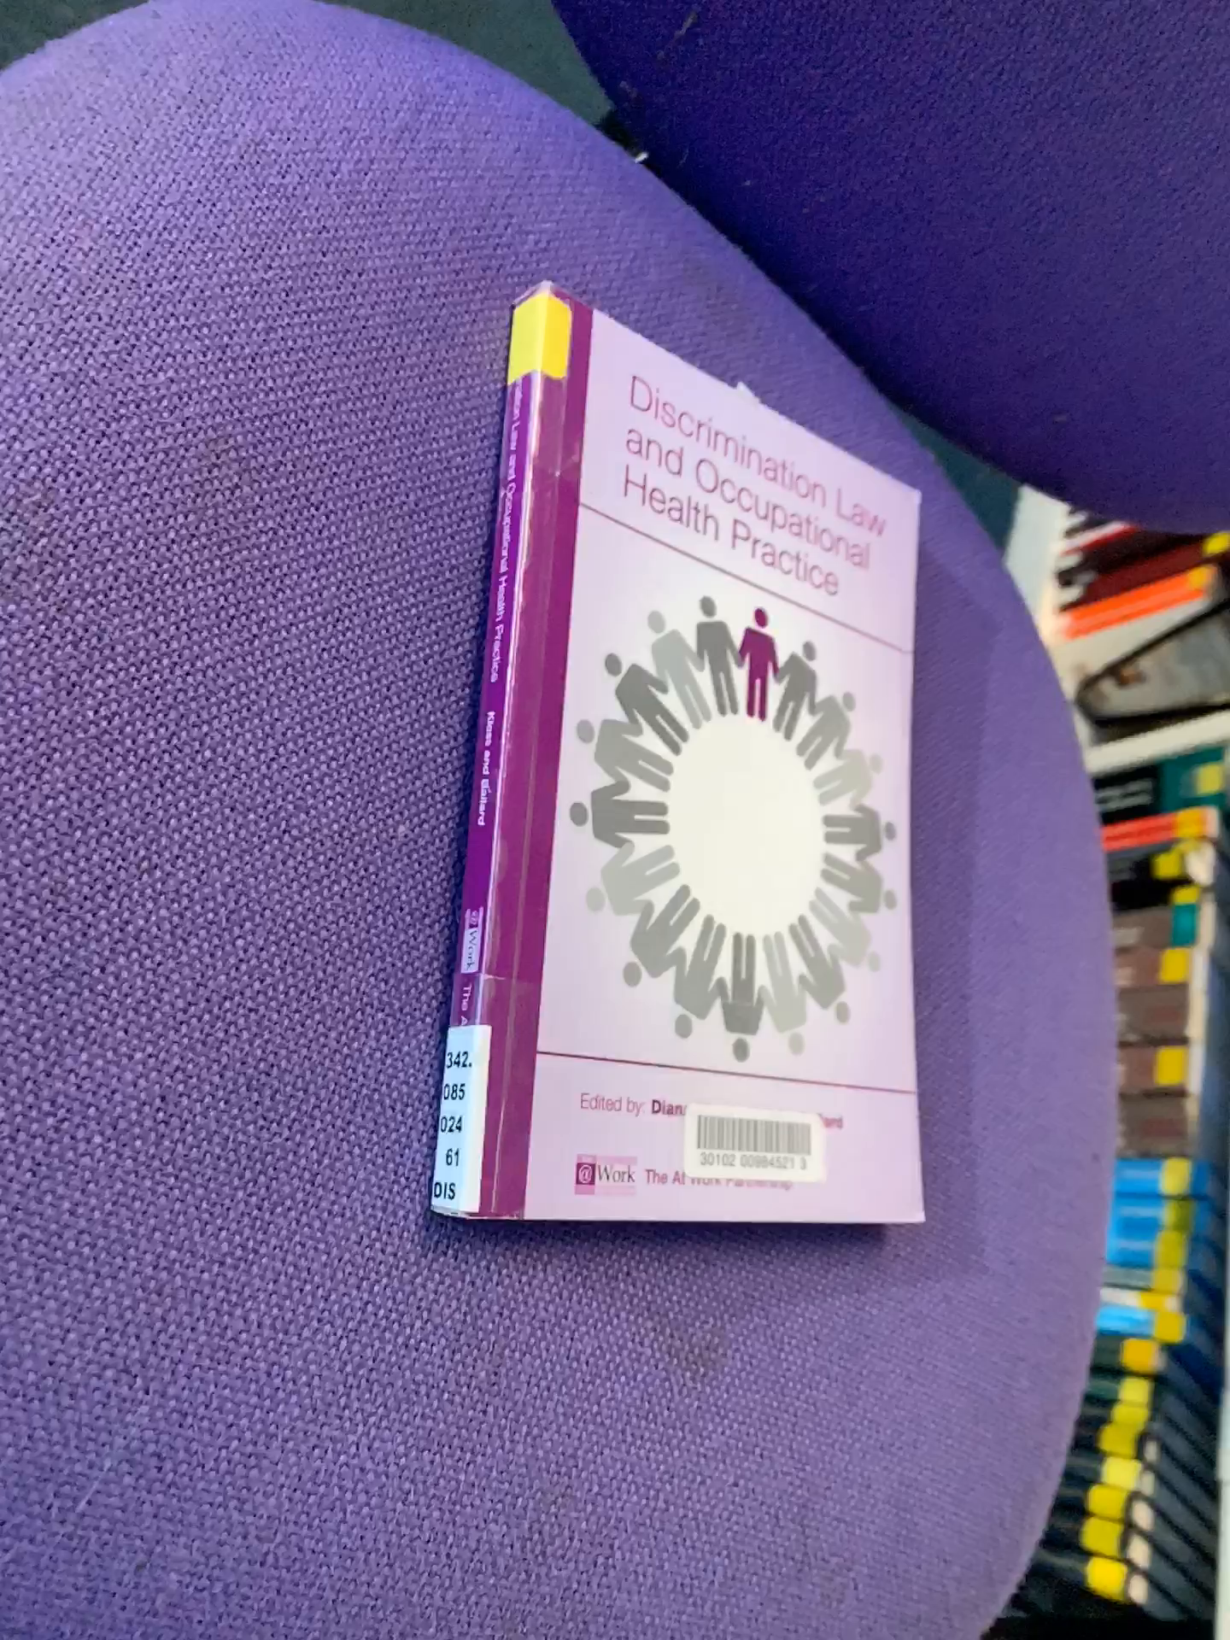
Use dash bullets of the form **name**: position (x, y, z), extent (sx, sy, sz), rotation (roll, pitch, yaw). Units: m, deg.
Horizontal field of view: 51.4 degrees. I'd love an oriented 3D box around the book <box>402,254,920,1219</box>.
- **book**: position (0.026, -0.014, 0.354), extent (0.158, 0.022, 0.236), rotation (14, 72, -38)
